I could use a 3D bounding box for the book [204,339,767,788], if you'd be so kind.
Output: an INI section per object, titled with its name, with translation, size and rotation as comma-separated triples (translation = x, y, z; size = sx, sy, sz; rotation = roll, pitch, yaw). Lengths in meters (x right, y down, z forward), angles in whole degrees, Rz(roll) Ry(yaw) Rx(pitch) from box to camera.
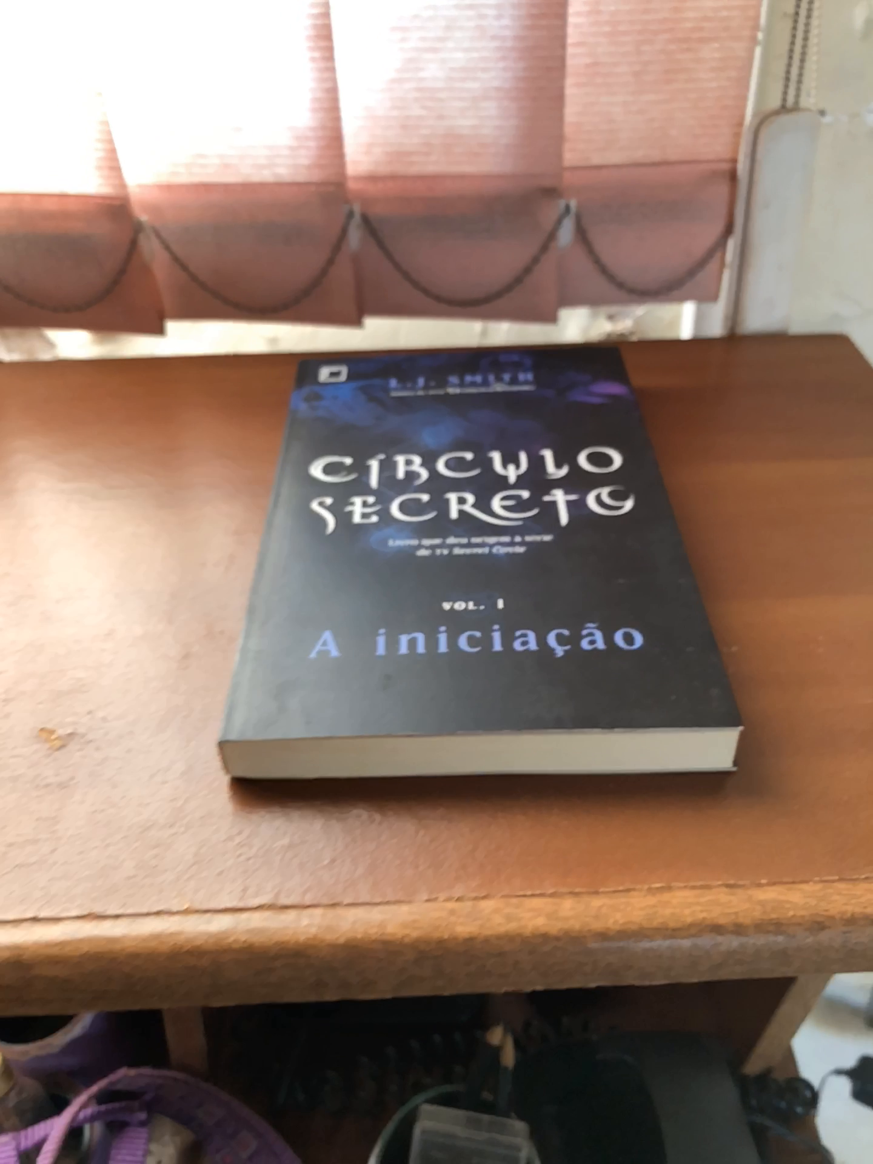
[book]
translation = 0.010, -0.024, 0.333
size = 0.140, 0.024, 0.215
rotation = -1, 39, -1
